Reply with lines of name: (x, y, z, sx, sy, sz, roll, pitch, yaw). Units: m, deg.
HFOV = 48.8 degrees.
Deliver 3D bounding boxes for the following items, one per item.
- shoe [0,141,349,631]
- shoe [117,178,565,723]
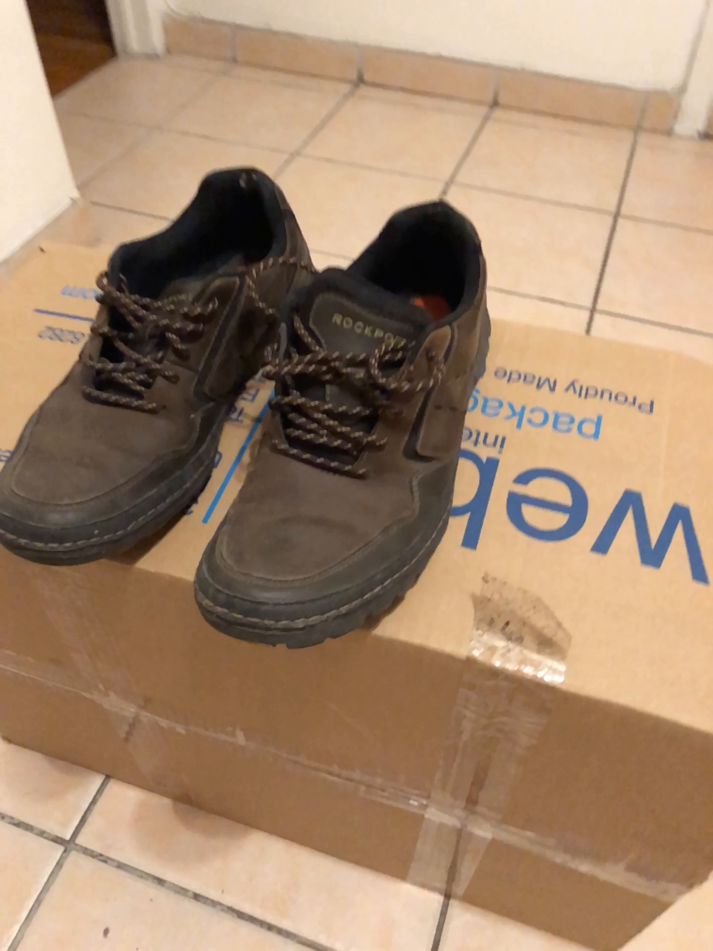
shoe: (-0.112, -0.071, 0.453, 0.110, 0.109, 0.282, 18, 50, 15)
shoe: (0.014, -0.037, 0.428, 0.110, 0.109, 0.292, 18, 49, 15)
